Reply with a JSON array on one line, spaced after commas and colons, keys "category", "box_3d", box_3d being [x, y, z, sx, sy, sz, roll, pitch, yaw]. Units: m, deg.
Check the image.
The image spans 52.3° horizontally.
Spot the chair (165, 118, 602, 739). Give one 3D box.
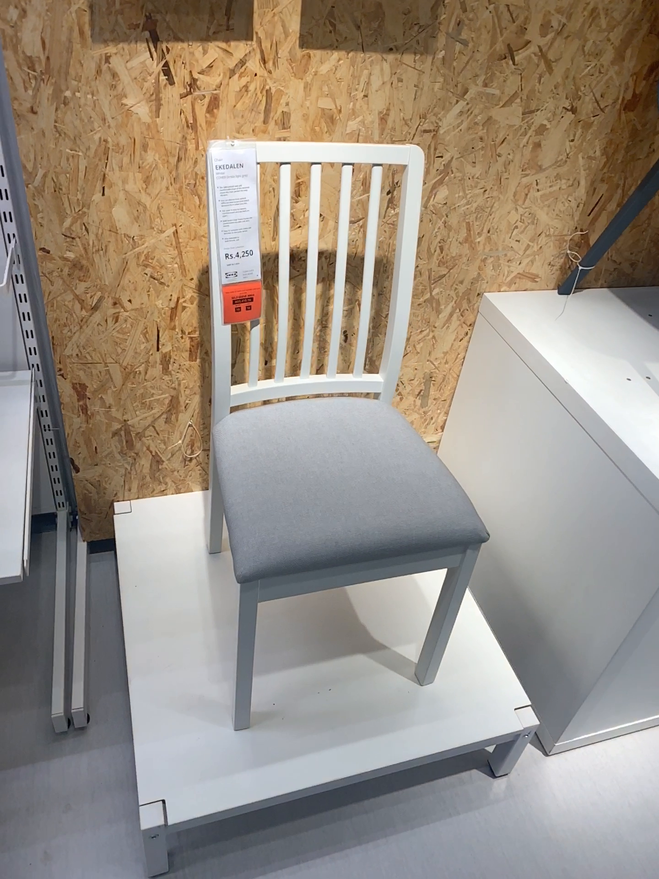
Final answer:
[{"category": "chair", "box_3d": [-0.019, 0.016, 1.203, 0.450, 0.956, 0.492, -6, 41, -17]}]
